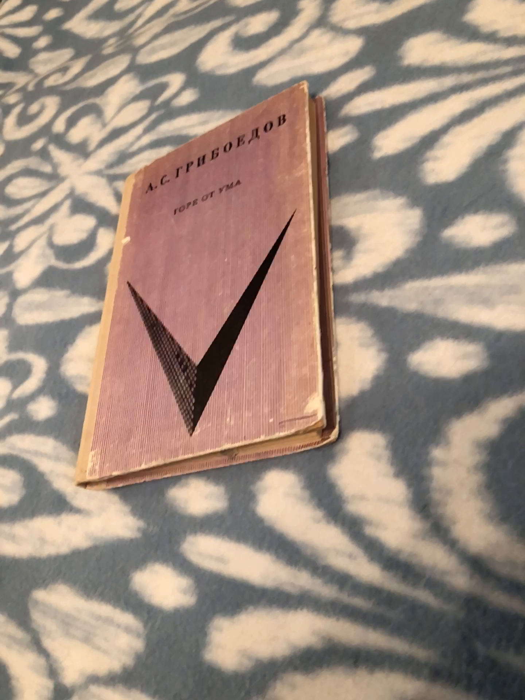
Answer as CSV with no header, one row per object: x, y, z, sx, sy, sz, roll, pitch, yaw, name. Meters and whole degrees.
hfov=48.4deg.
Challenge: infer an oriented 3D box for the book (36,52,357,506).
-0.035,-0.040,0.303,0.158,0.020,0.218,-17,56,29,book
